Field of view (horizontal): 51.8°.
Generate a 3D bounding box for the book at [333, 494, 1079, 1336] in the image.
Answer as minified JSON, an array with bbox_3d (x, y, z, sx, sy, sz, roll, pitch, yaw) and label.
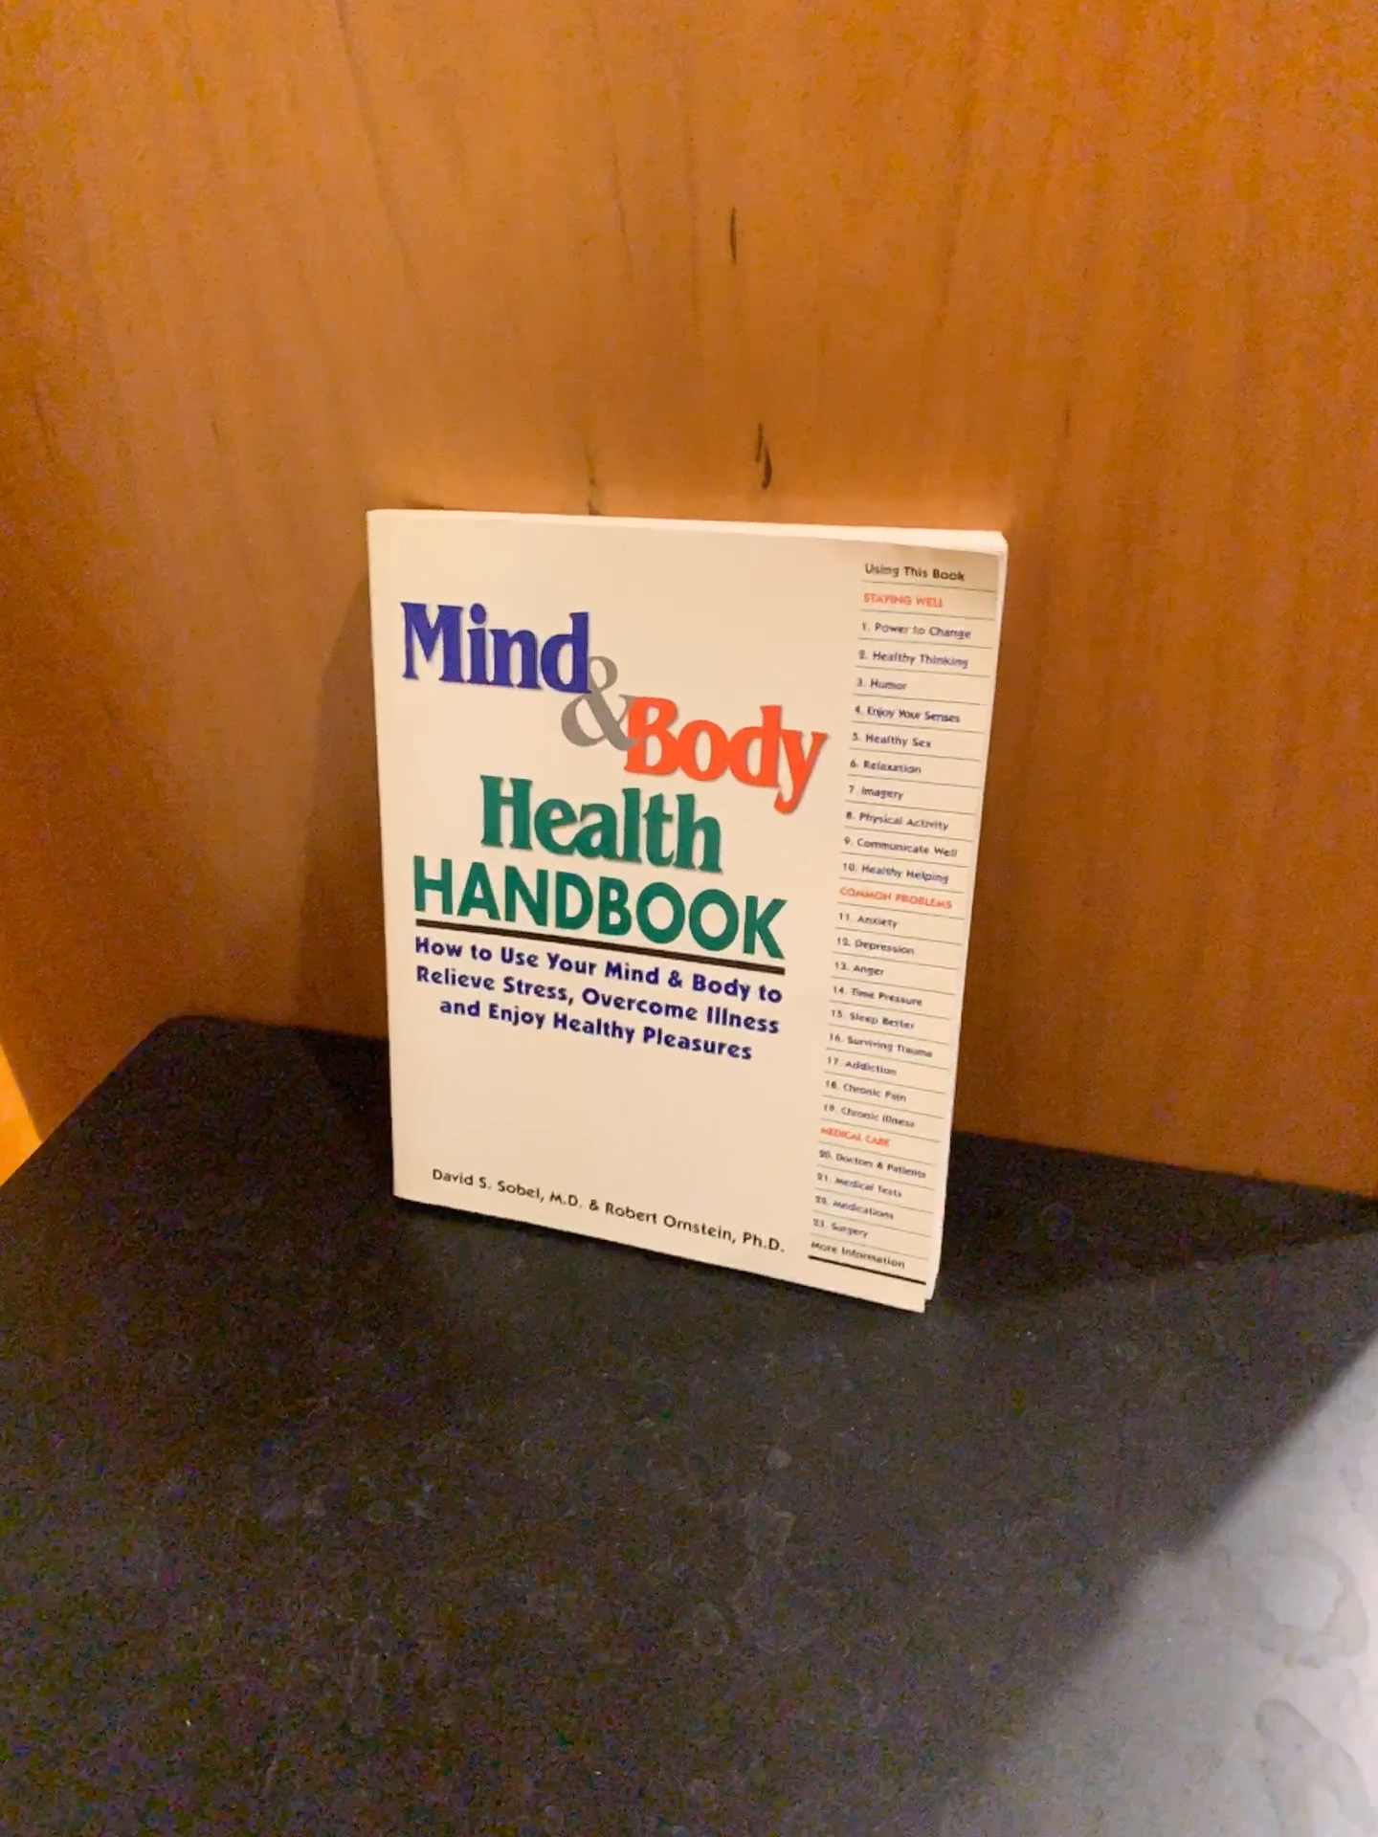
[{"bbox_3d":[-0.004,-0.006,0.435,0.210,0.229,0.040,8,18,18],"label":"book"}]
